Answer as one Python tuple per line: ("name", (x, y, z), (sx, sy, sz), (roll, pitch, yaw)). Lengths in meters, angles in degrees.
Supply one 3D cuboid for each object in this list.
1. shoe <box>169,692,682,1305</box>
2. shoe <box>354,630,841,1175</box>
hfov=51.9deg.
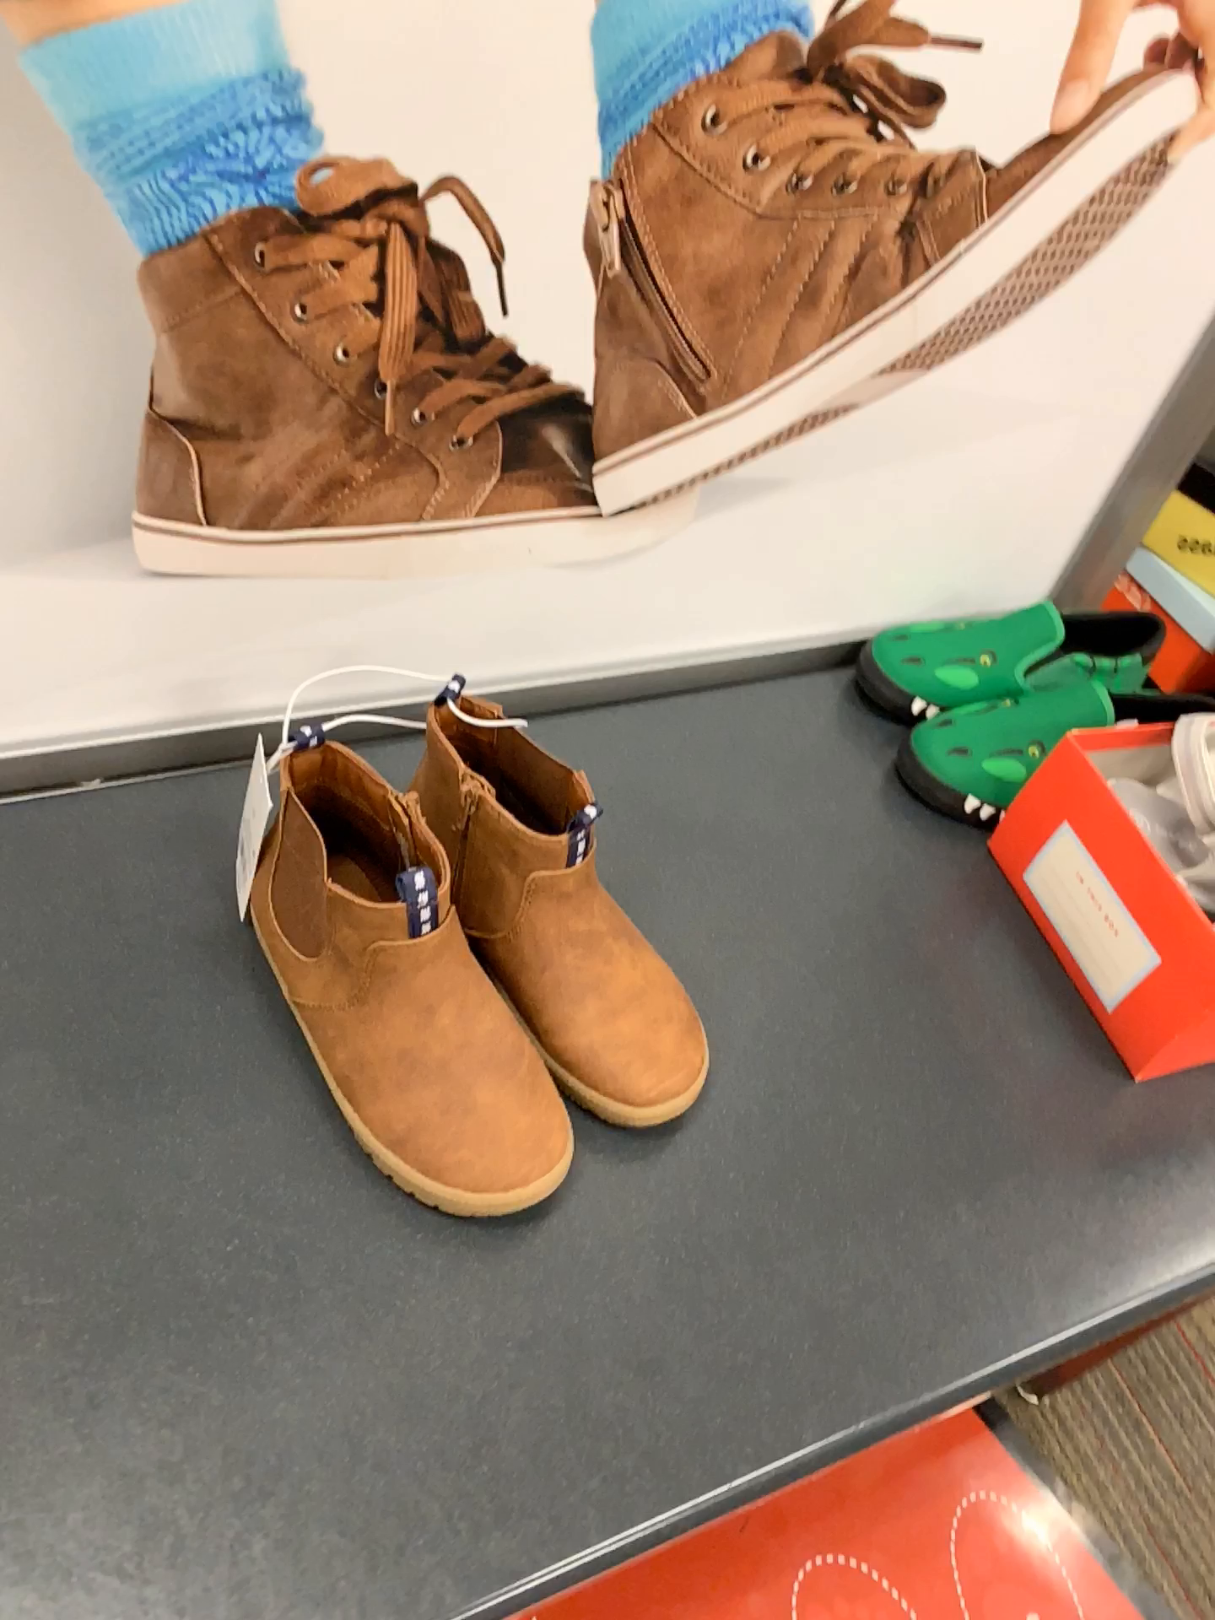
("shoe", (-0.077, 0.064, 0.470), (0.087, 0.100, 0.190), (-26, 60, -33))
("shoe", (-0.015, 0.032, 0.520), (0.087, 0.100, 0.190), (-26, 60, -33))
